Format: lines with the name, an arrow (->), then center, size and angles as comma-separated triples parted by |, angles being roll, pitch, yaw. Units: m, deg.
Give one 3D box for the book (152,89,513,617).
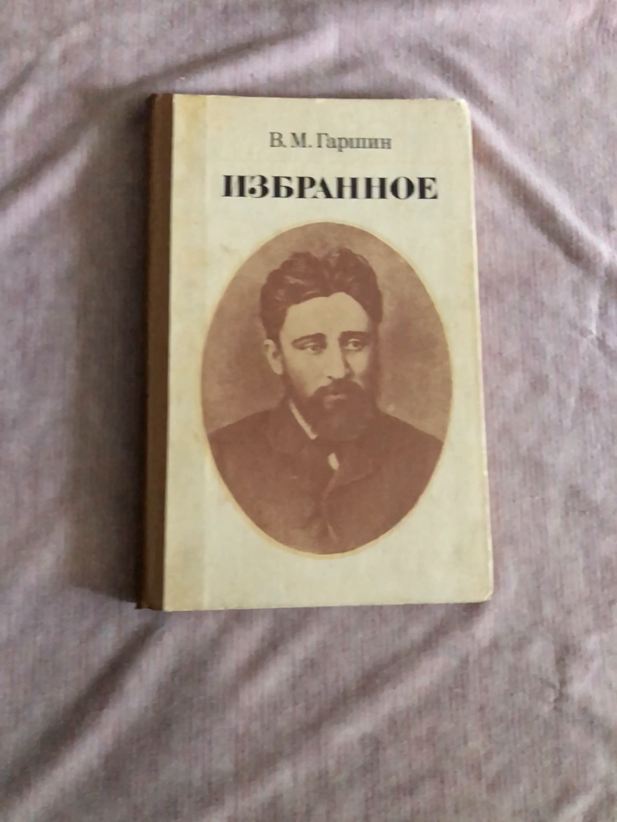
book -> 0.007, -0.028, 0.299 | 0.142, 0.030, 0.220 | -1, 82, -4
